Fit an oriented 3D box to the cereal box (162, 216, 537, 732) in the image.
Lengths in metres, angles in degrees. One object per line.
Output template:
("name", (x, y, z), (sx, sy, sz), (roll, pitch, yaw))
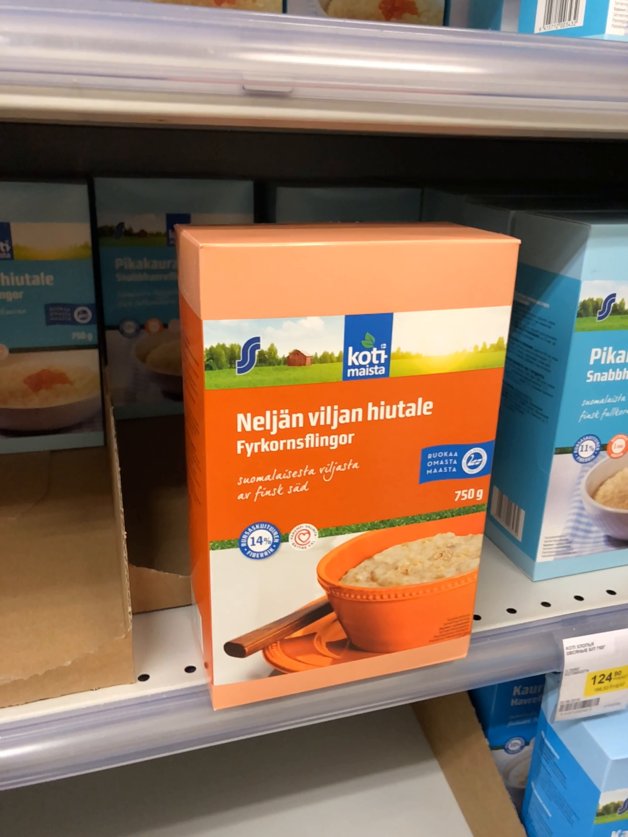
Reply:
("cereal box", (0.011, 0.021, 0.350), (0.150, 0.229, 0.080), (-5, 20, -16))
